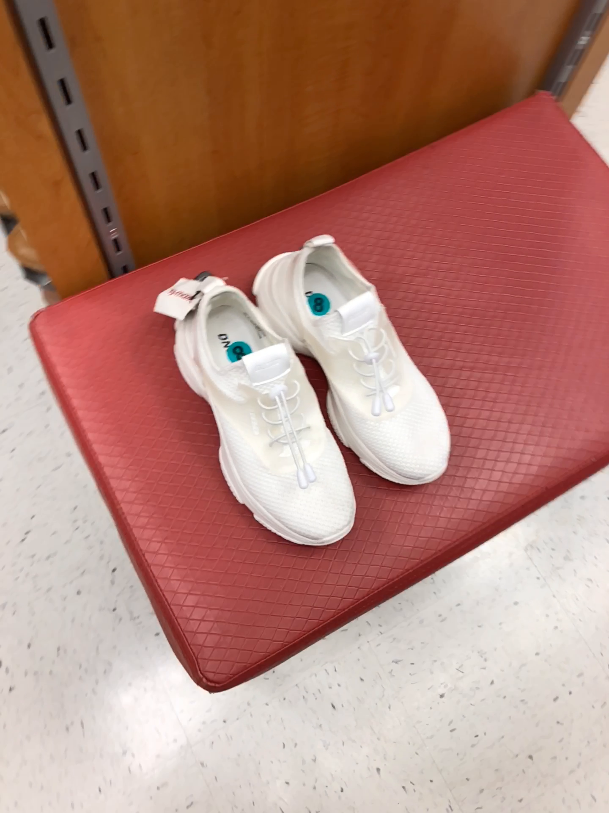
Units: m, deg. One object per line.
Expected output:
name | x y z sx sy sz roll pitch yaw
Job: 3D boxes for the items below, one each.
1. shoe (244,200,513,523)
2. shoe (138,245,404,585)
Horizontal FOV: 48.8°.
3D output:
shoe | 0.058 -0.044 0.655 0.109 0.110 0.278 -28 73 -14
shoe | -0.038 0.007 0.629 0.112 0.110 0.278 -26 73 -13
